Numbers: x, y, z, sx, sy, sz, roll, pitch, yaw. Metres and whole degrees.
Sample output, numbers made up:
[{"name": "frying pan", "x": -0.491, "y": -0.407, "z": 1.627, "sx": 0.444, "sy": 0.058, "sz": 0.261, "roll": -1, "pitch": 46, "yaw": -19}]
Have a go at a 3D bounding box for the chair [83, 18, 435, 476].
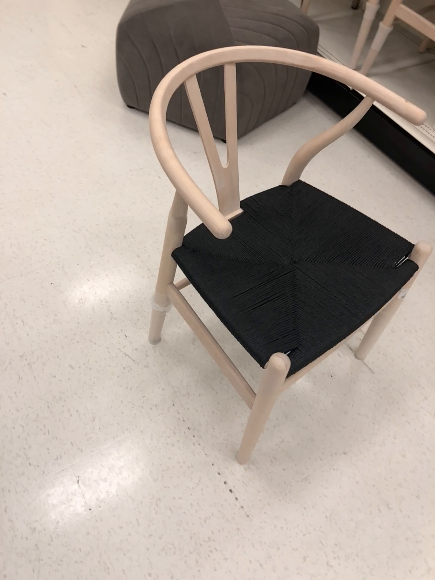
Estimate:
[{"name": "chair", "x": 0.124, "y": -0.079, "z": 1.119, "sx": 0.559, "sy": 0.728, "sz": 0.556, "roll": -32, "pitch": 63, "yaw": -27}]
